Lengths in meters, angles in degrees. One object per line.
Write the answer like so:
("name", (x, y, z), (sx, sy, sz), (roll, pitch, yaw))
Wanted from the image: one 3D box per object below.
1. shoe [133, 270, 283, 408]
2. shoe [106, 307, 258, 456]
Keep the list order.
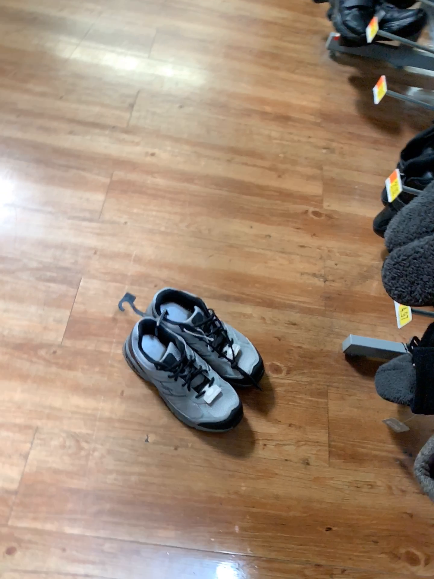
("shoe", (-0.026, 0.108, 0.996), (0.309, 0.099, 0.124), (35, 61, 11))
("shoe", (-0.079, 0.190, 0.938), (0.308, 0.089, 0.117), (39, 62, 13))
